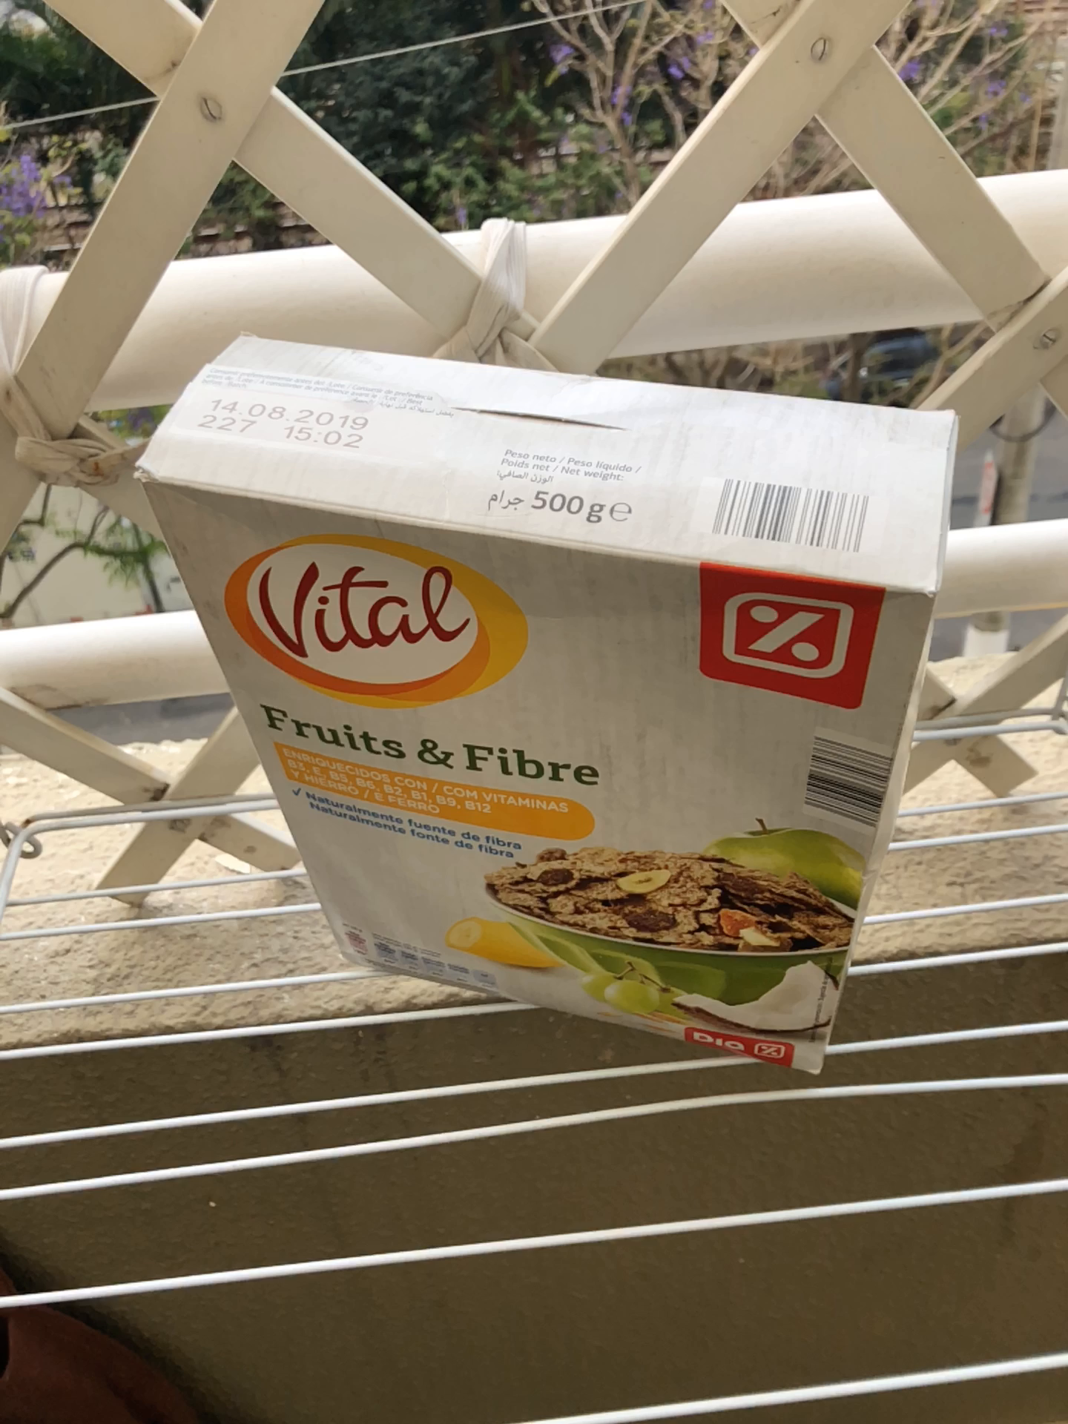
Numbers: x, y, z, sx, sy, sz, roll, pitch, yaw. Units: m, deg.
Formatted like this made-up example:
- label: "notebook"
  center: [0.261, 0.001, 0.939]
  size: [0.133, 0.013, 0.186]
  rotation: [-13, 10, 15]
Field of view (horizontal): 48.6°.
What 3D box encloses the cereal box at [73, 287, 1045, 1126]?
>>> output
- label: "cereal box"
  center: [0.015, 0.017, 0.371]
  size: [0.210, 0.268, 0.070]
  rotation: [11, 52, 16]
